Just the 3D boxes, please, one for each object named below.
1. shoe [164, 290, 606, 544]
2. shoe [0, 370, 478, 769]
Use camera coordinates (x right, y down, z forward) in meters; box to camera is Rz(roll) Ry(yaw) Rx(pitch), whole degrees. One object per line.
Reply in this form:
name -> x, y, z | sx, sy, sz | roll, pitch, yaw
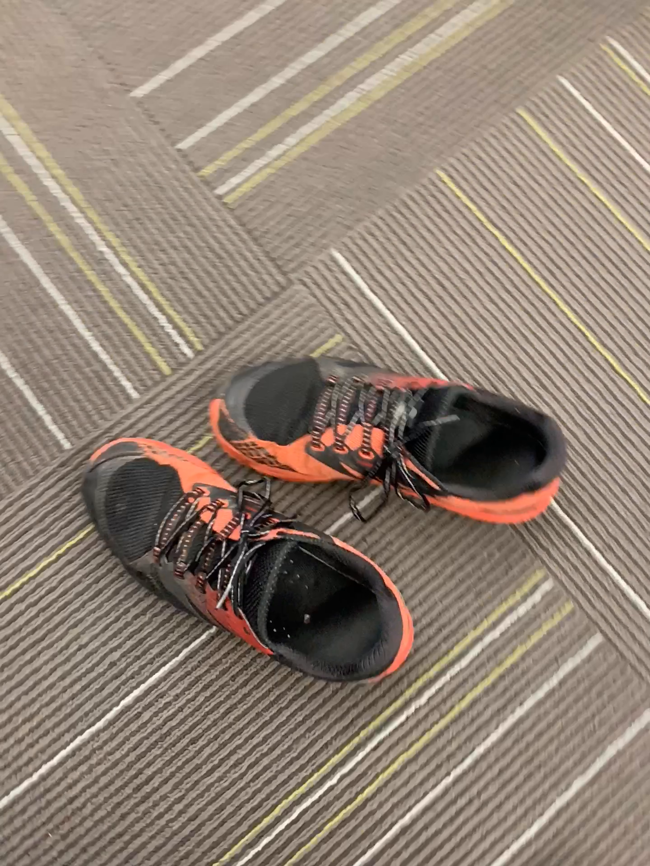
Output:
shoe -> 0.046, -0.003, 0.554 | 0.310, 0.130, 0.130 | 11, 79, 0
shoe -> -0.067, 0.101, 0.525 | 0.320, 0.130, 0.130 | 30, 79, 3
